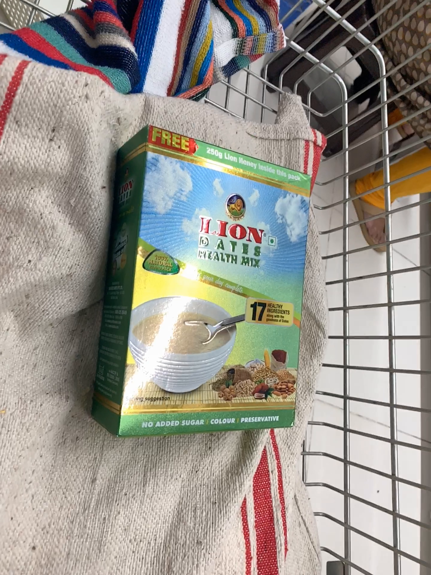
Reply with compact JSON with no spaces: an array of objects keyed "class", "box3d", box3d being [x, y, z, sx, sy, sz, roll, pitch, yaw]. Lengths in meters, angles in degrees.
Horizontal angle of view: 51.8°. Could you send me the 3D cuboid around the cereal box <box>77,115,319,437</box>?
[{"class":"cereal box","box3d":[-0.012,0.000,0.333,0.141,0.090,0.190,8,84,-30]}]
